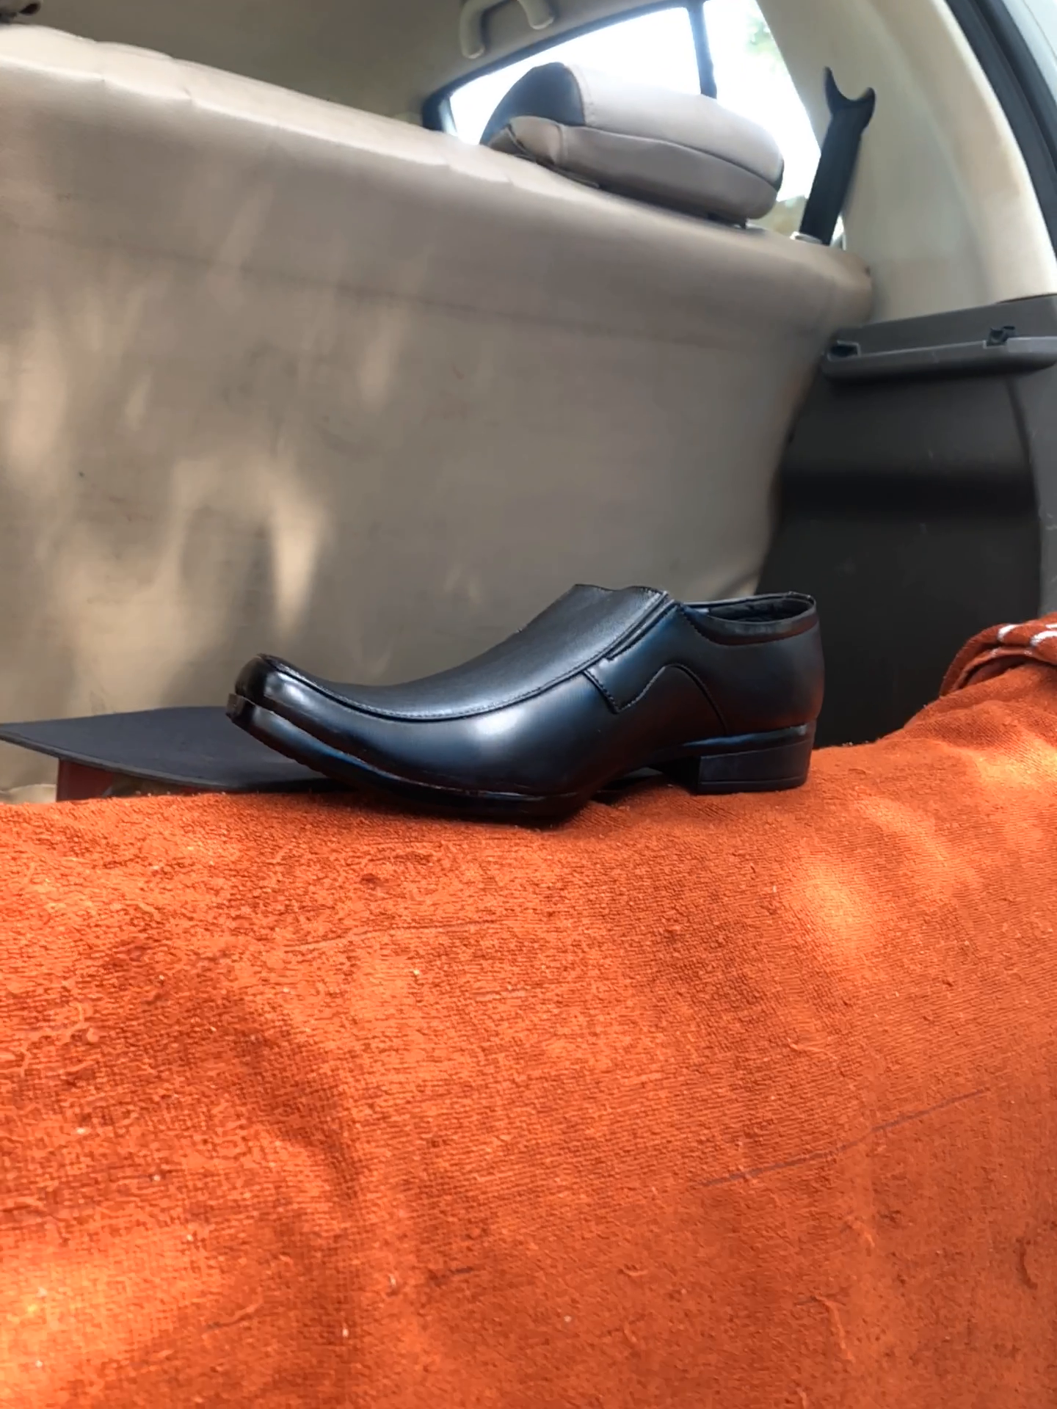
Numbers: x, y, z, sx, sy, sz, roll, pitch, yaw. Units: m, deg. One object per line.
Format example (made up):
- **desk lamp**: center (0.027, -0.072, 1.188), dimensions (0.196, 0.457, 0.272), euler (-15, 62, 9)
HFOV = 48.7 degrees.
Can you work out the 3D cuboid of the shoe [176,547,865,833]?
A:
- **shoe**: center (-0.010, -0.013, 0.569), dimensions (0.291, 0.100, 0.160), euler (1, 10, -23)
